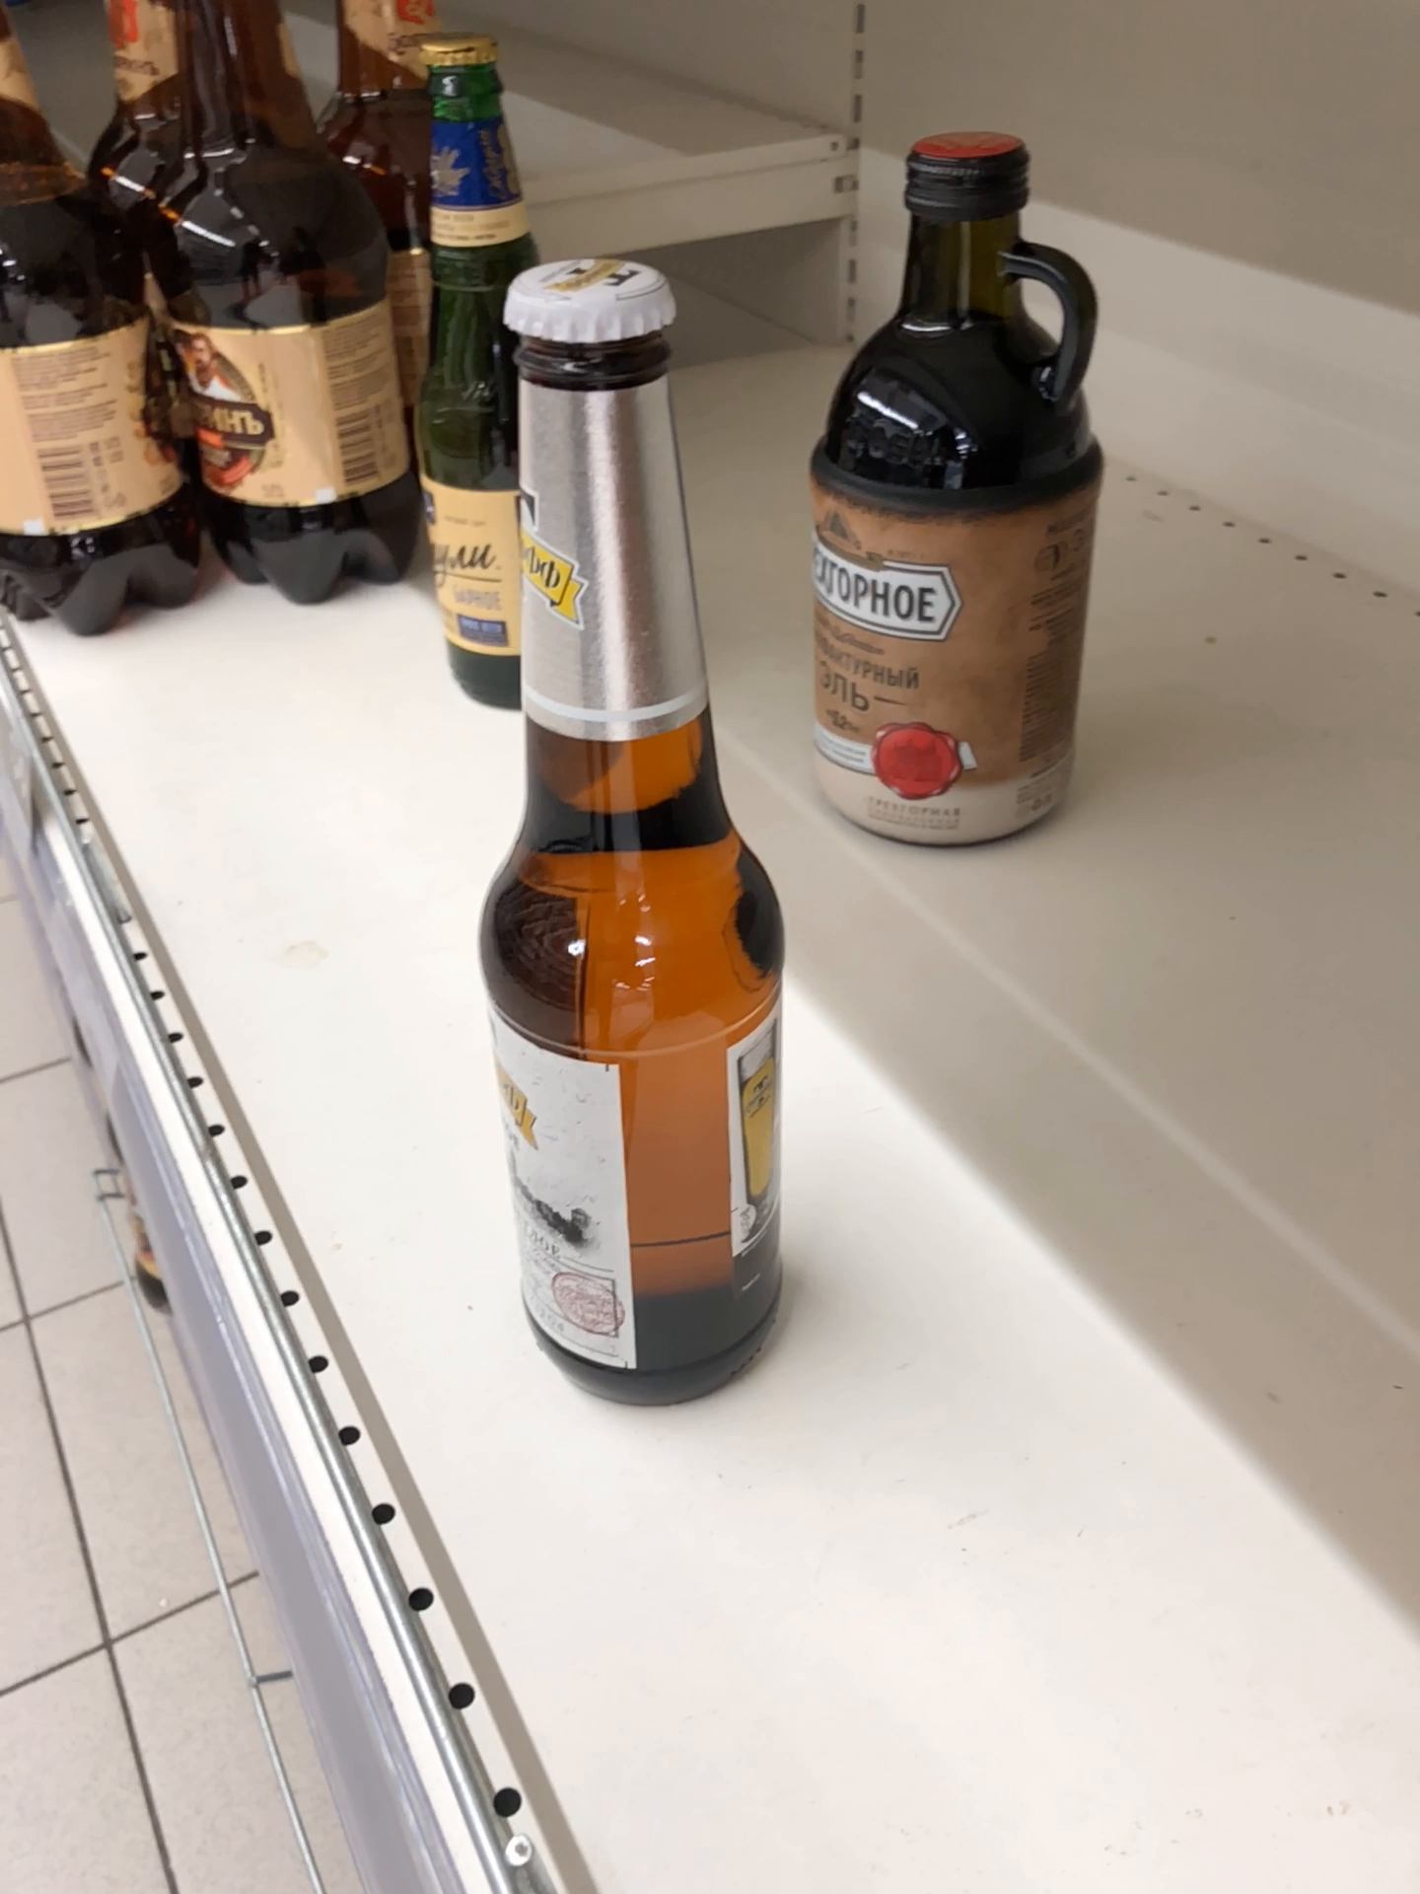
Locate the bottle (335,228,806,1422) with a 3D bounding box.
[{"bbox_3d":[-0.021,-0.011,0.340,0.070,0.249,0.080,-4,37,-3],"label":"bottle"}]
